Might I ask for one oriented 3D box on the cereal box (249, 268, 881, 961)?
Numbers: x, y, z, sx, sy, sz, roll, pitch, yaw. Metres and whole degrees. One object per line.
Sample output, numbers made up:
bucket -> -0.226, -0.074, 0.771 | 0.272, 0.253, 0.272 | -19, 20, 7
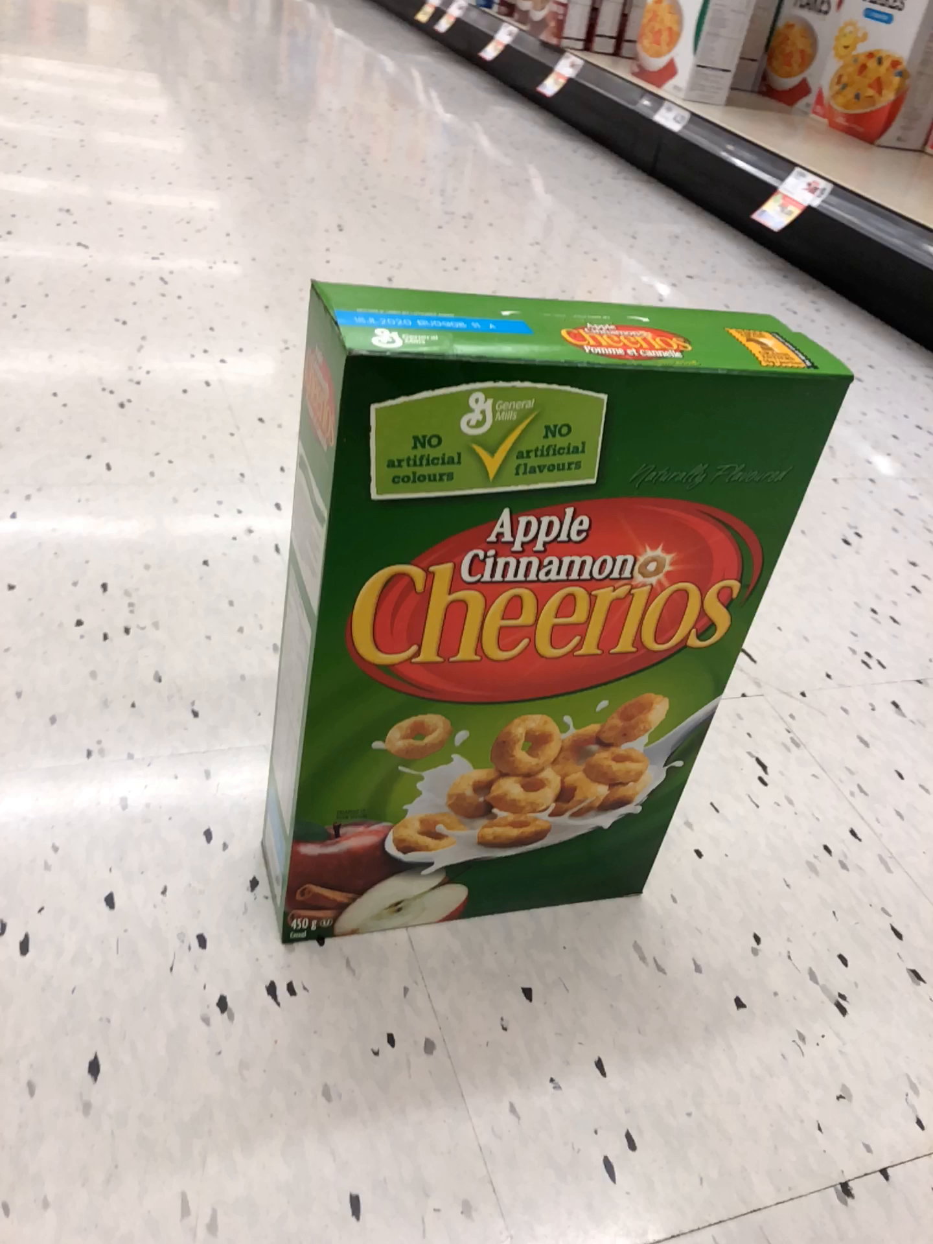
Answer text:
cereal box -> 0.019, 0.012, 0.419 | 0.190, 0.278, 0.060 | -2, 37, -20
